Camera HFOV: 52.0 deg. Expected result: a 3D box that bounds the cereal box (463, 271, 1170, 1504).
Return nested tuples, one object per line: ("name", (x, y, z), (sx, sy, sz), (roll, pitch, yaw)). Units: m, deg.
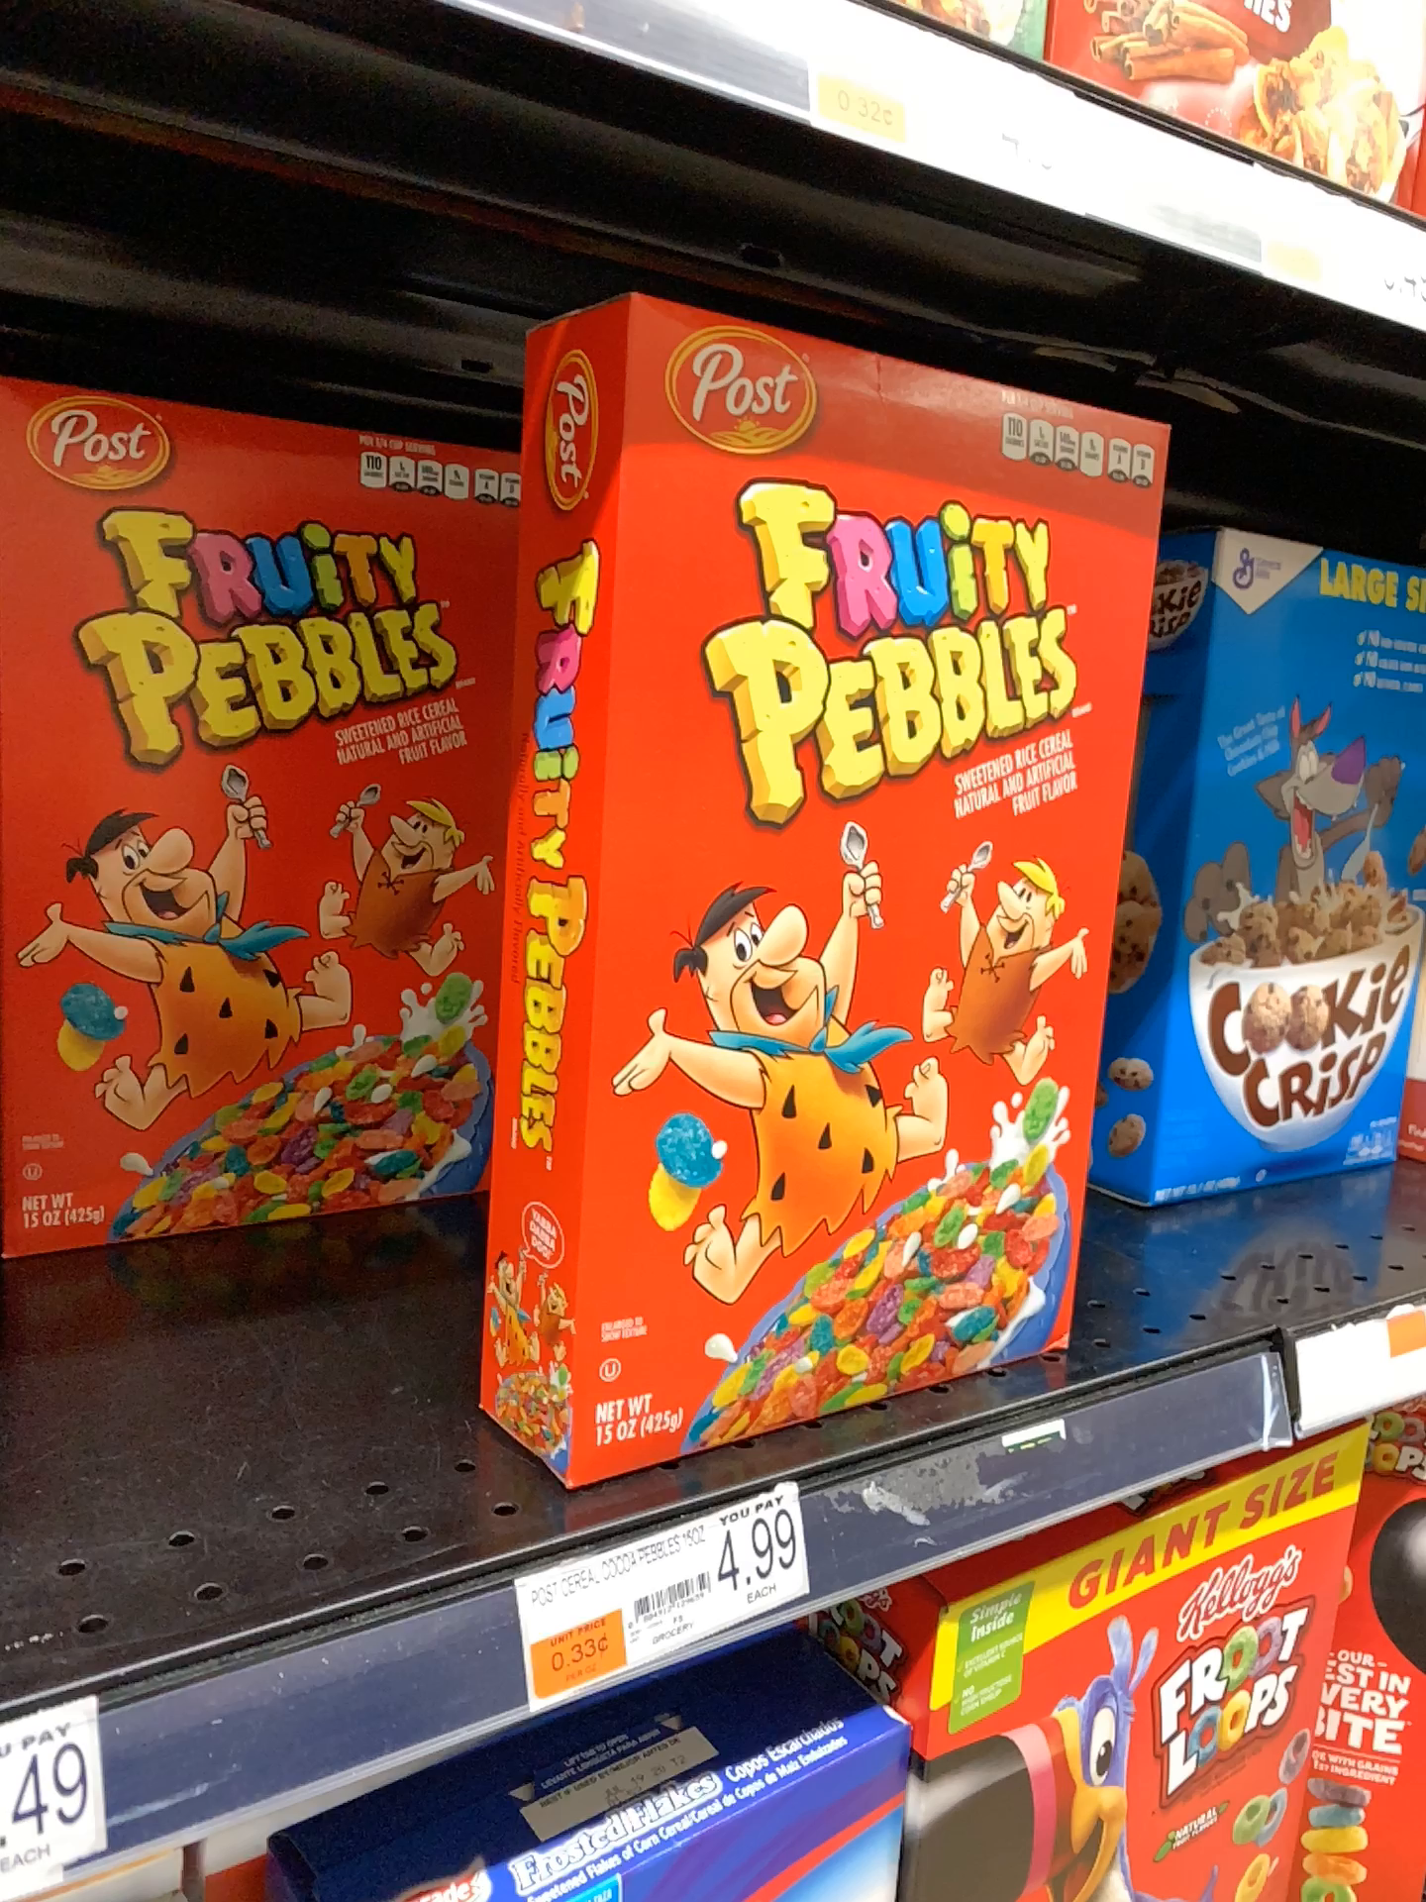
("cereal box", (0.033, -0.016, 0.445), (0.200, 0.309, 0.060), (-3, 10, -34))
